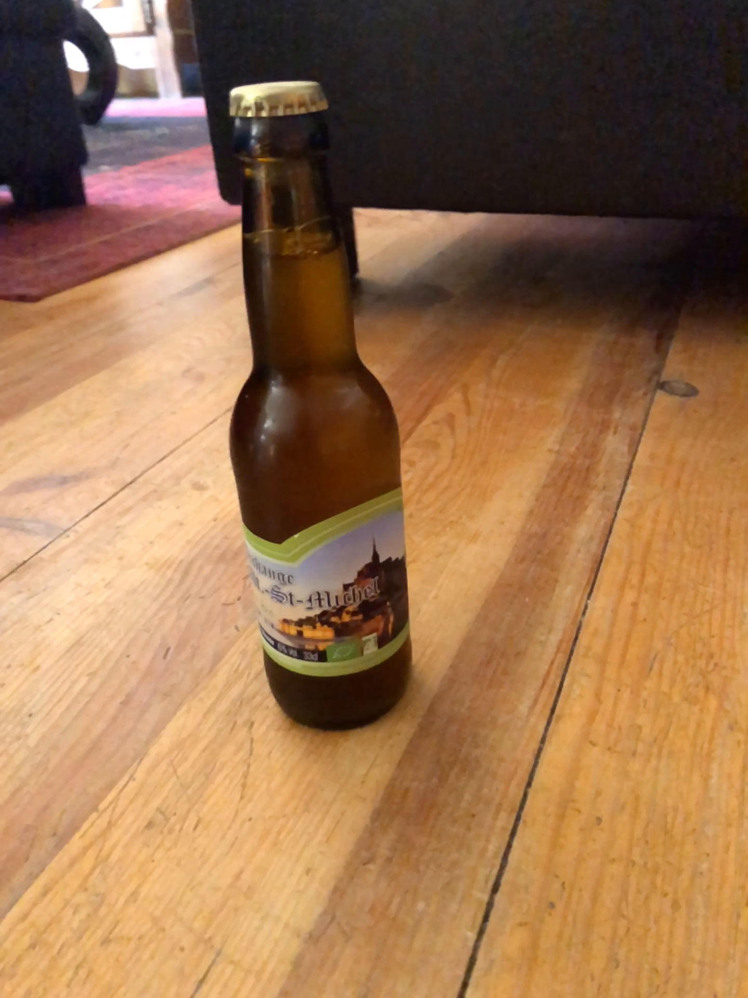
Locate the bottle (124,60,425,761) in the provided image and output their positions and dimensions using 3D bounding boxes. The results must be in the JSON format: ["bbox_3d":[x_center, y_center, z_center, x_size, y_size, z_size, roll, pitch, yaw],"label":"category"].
[{"bbox_3d":[-0.026,-0.022,0.290,0.070,0.229,0.070,-2,30,1],"label":"bottle"}]
